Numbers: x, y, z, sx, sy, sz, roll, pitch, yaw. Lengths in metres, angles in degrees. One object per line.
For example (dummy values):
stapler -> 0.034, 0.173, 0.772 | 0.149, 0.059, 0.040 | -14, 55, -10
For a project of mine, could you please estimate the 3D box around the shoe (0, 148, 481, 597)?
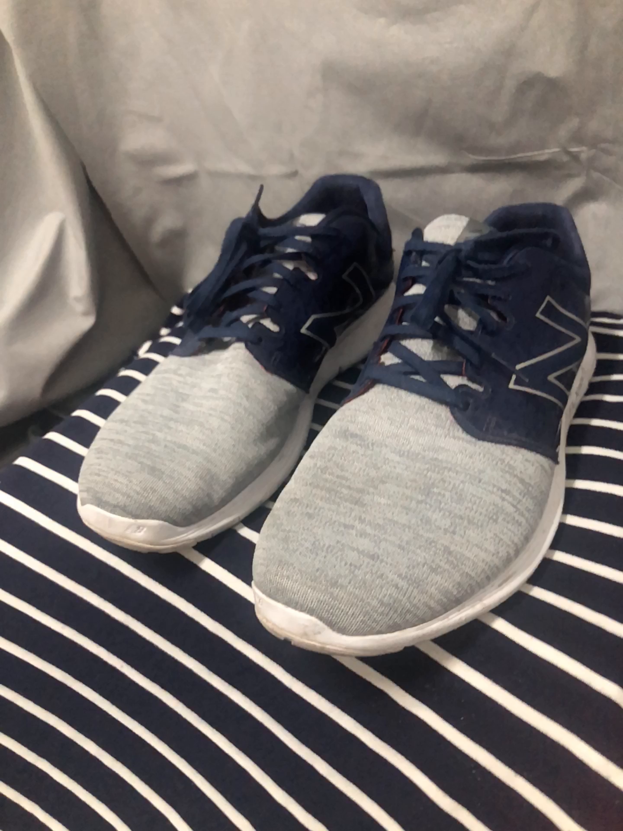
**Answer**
shoe -> -0.018, -0.061, 0.402 | 0.120, 0.089, 0.322 | 15, 41, 29

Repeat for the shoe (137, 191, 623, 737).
shoe -> 0.064, -0.015, 0.314 | 0.120, 0.079, 0.261 | 15, 41, 29
